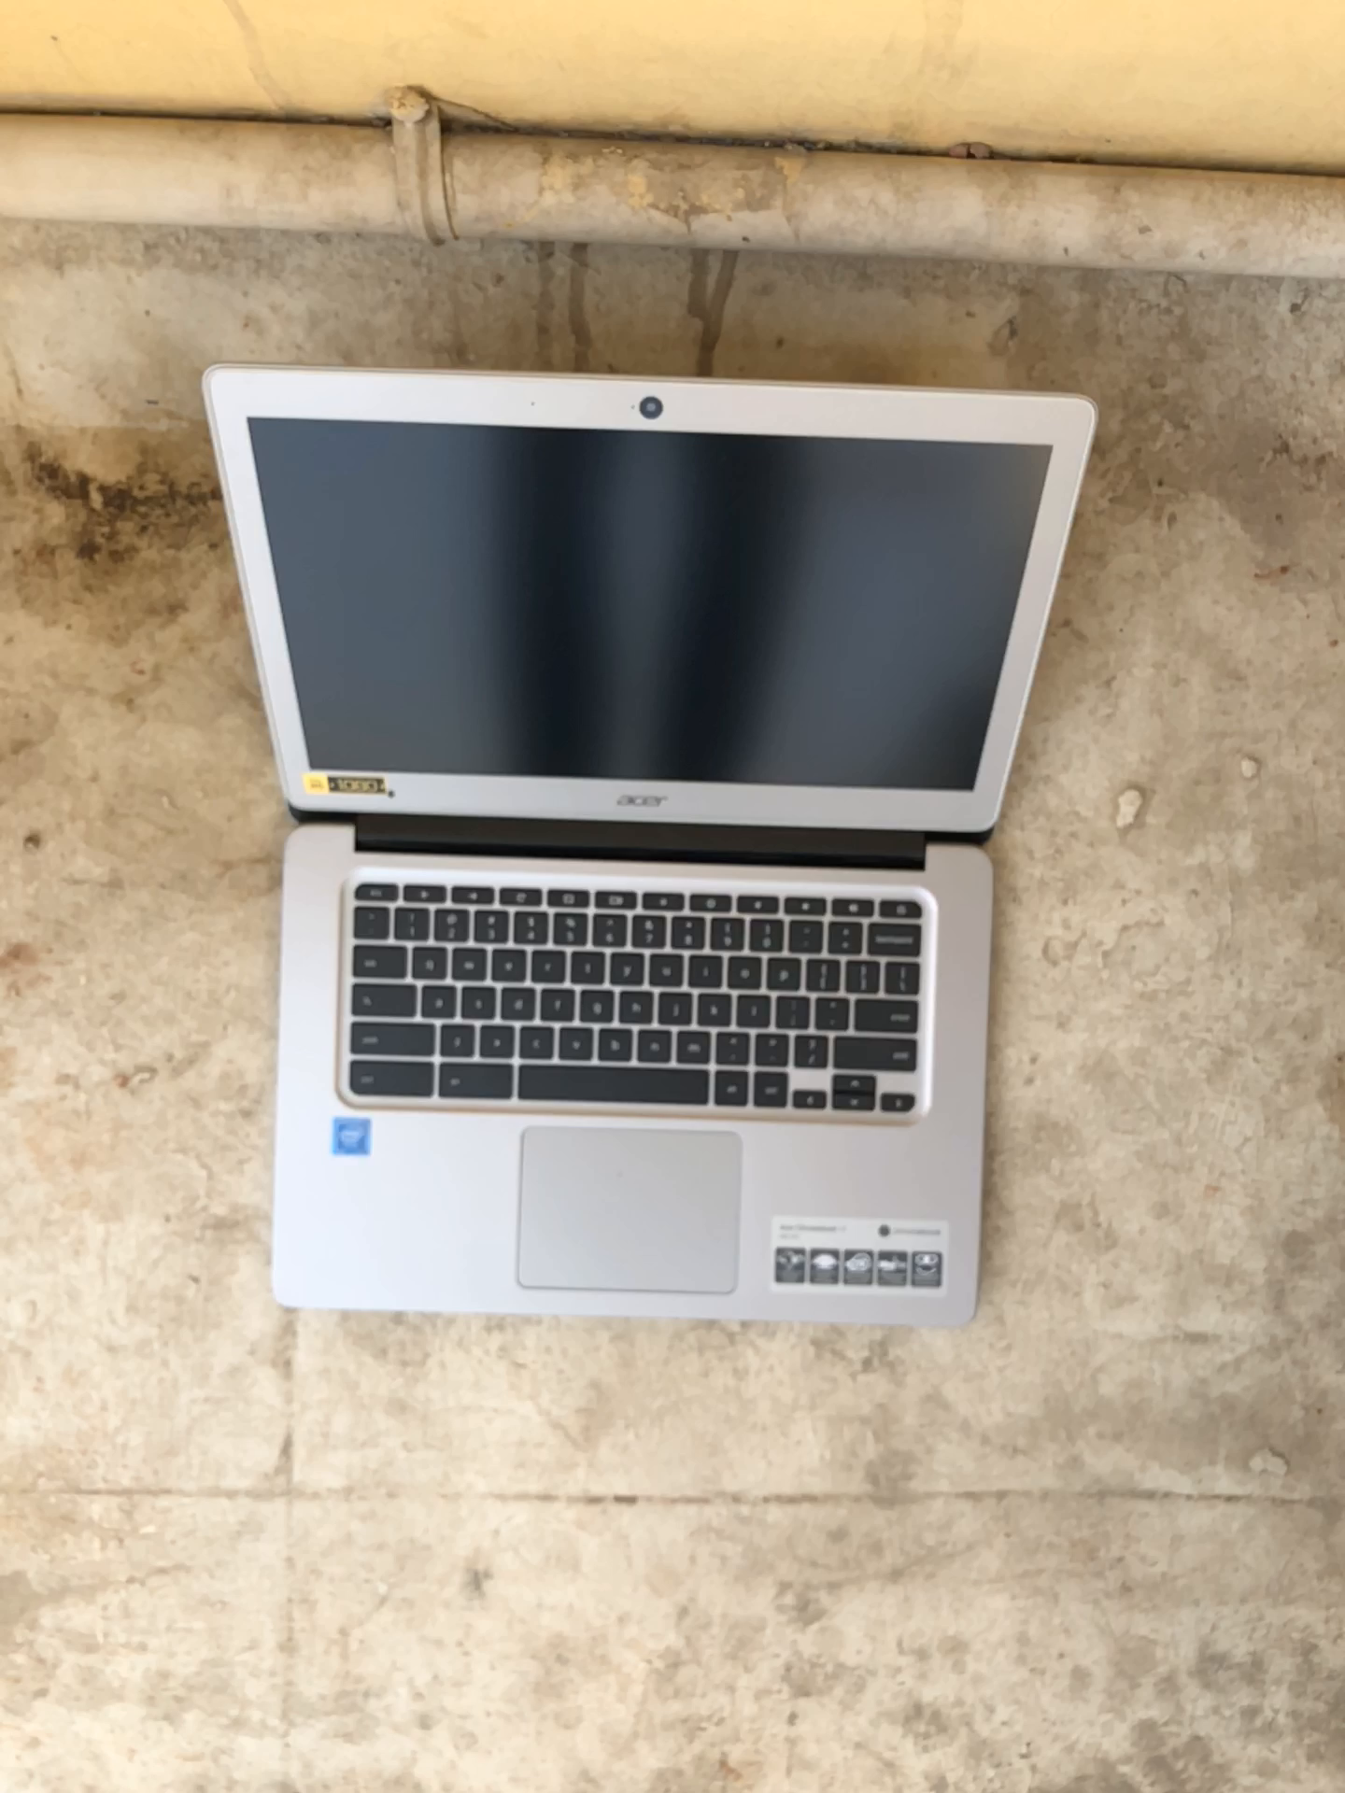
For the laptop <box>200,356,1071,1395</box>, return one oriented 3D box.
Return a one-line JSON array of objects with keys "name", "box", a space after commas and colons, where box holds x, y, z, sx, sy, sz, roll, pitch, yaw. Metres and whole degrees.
[{"name": "laptop", "box": [-0.017, -0.007, 0.622, 0.315, 0.137, 0.378, 1, 93, 0]}]
